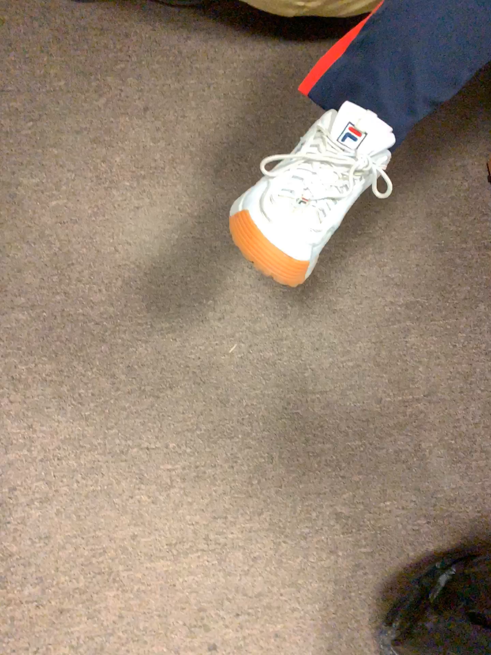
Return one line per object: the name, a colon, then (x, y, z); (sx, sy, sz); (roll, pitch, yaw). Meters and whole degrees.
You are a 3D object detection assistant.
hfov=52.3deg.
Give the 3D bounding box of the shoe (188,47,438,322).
shoe: (0.075, -0.149, 0.505); (0.130, 0.130, 0.230); (38, 51, -4)
